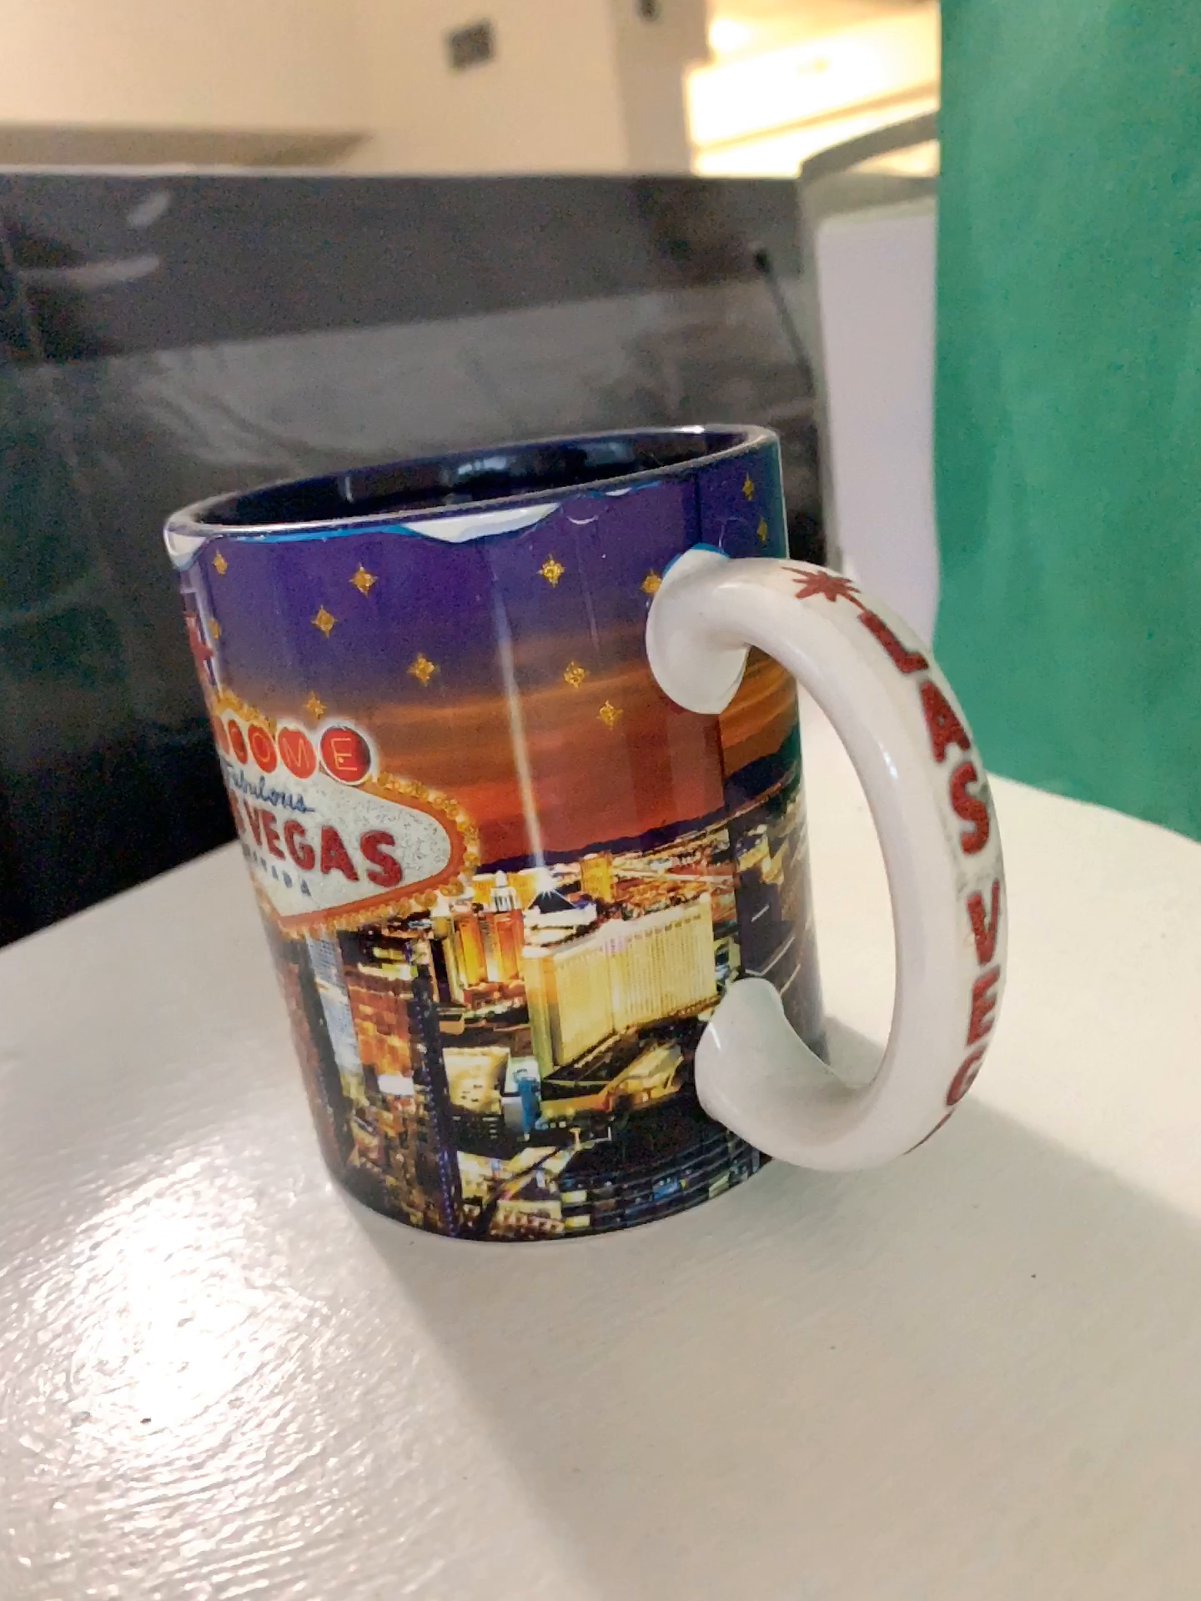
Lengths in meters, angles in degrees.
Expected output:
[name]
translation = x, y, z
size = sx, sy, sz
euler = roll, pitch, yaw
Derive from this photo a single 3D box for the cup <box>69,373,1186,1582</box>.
[cup]
translation = 0.000, 0.004, 0.172
size = 0.080, 0.100, 0.120
euler = -22, 24, -33
